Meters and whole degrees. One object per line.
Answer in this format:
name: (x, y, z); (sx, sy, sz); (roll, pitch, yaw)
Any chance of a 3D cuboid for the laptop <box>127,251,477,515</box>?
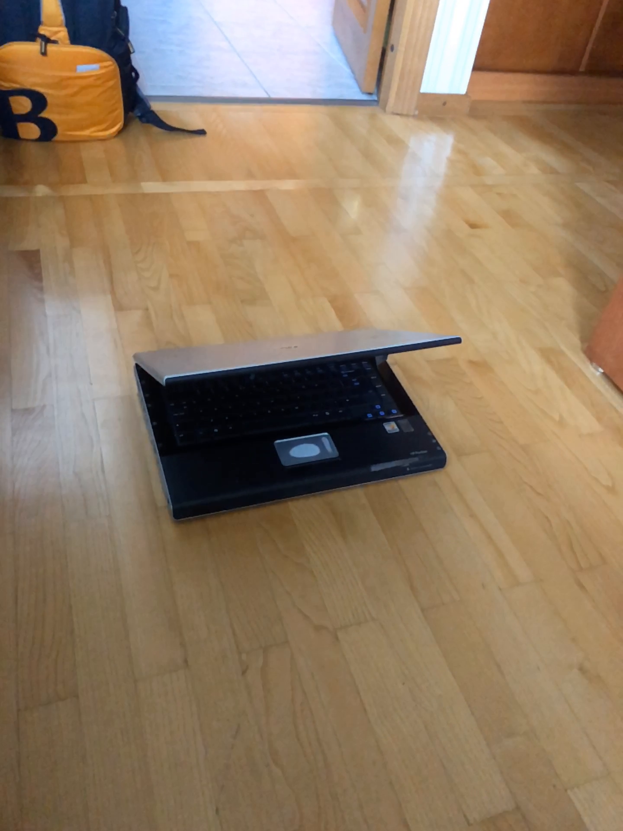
laptop: (-0.027, -0.061, 0.880); (0.362, 0.147, 0.269); (-9, 47, -20)
